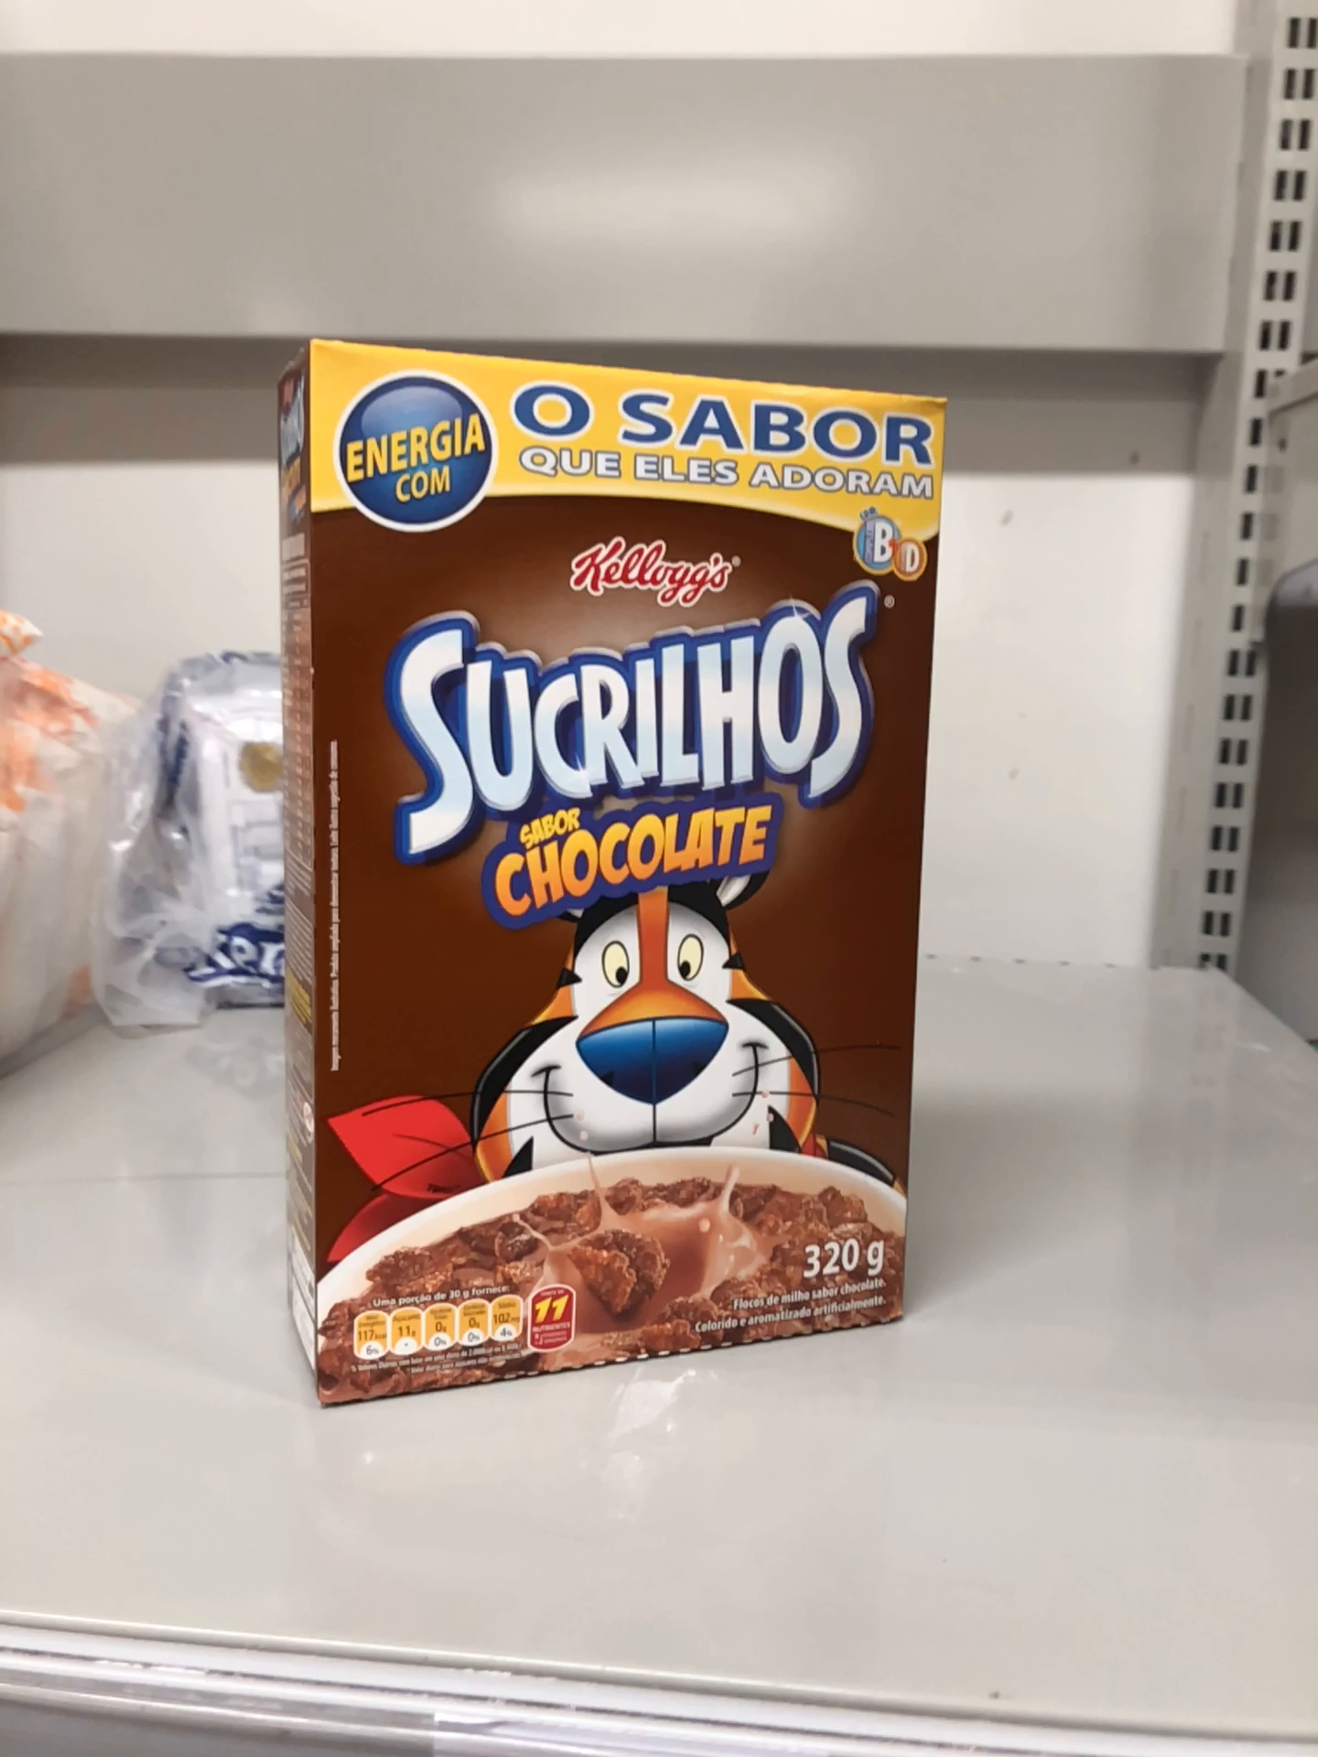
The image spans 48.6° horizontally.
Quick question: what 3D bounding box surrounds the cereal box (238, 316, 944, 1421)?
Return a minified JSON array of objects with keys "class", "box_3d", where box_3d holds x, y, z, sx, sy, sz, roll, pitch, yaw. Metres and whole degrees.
[{"class":"cereal box","box_3d":[-0.021,-0.004,0.419,0.180,0.269,0.070,-2,9,-22]}]
